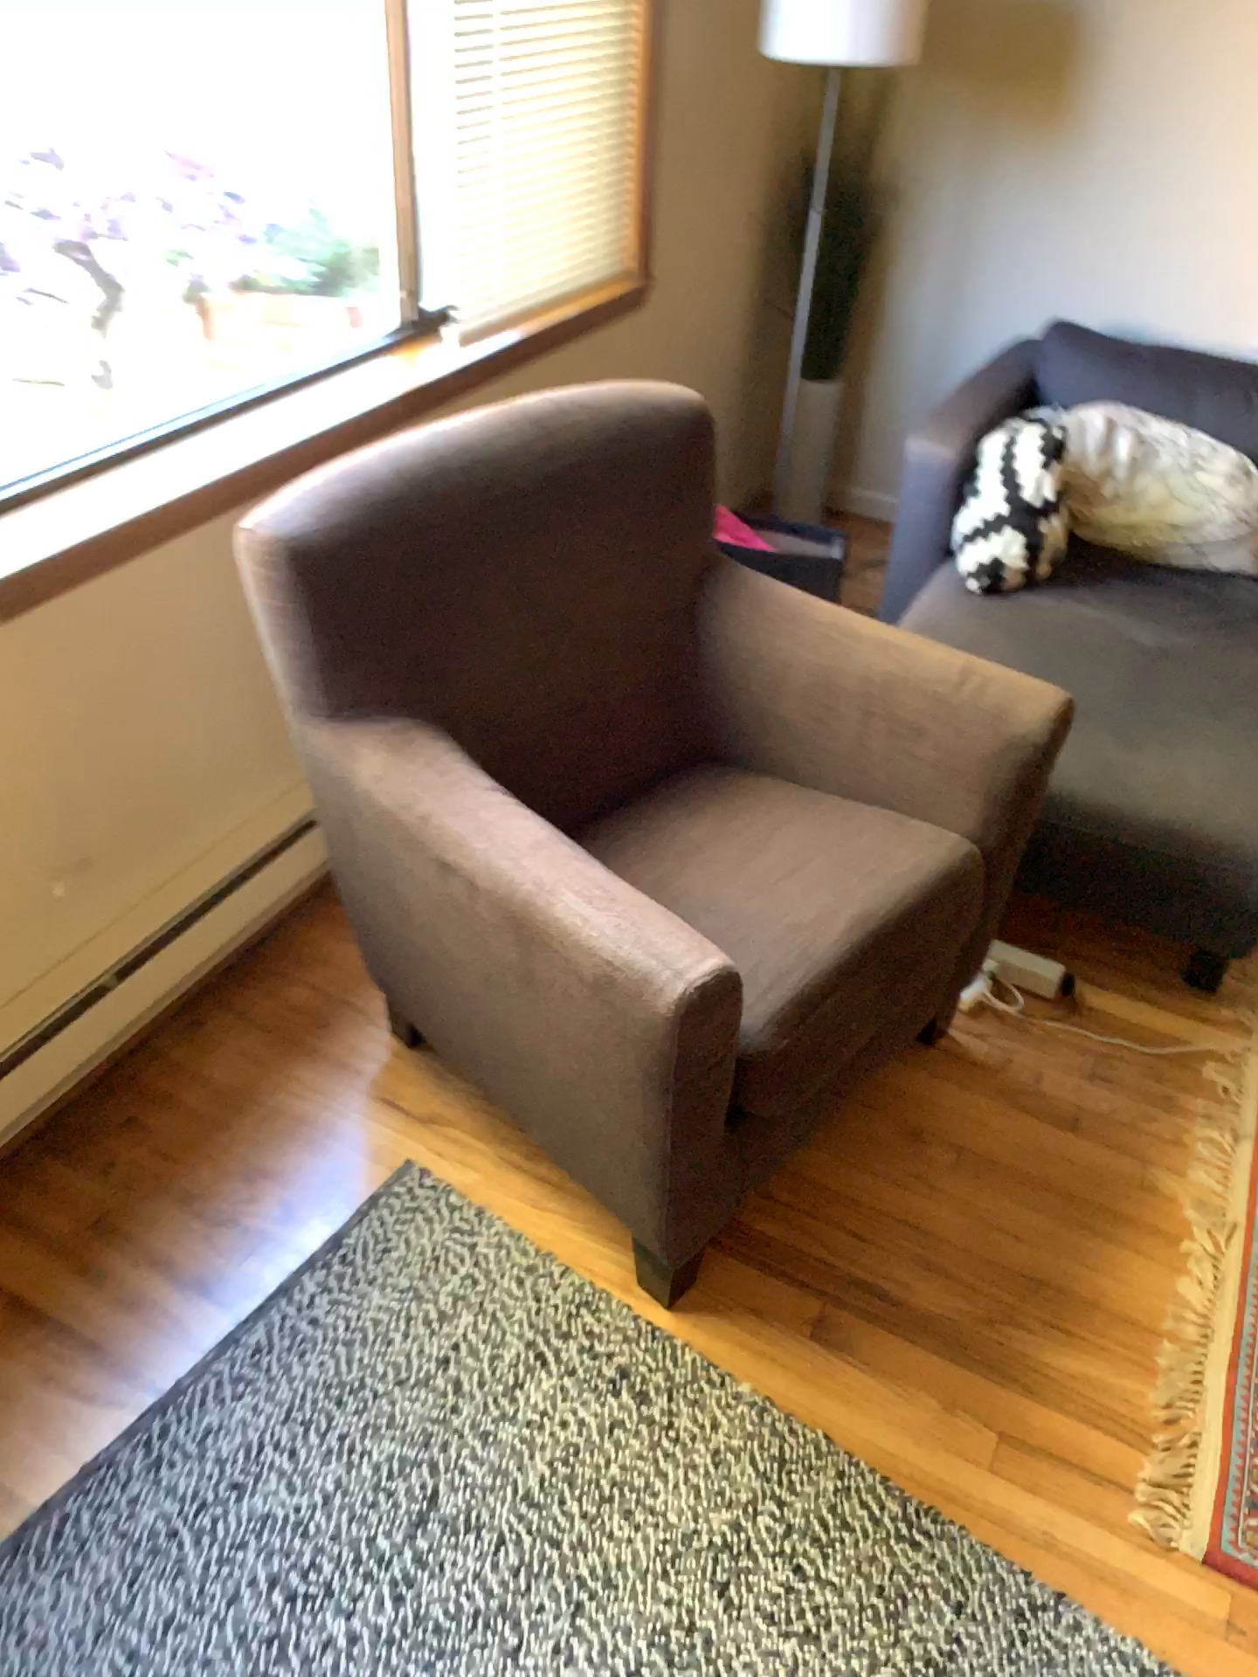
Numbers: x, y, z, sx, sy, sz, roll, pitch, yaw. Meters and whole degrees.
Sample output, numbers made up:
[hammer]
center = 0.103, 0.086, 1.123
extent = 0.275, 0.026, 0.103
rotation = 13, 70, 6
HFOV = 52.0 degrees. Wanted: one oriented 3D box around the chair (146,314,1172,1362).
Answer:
[chair]
center = 0.053, -0.096, 1.734
extent = 0.802, 0.875, 0.883
rotation = 27, 43, 32
